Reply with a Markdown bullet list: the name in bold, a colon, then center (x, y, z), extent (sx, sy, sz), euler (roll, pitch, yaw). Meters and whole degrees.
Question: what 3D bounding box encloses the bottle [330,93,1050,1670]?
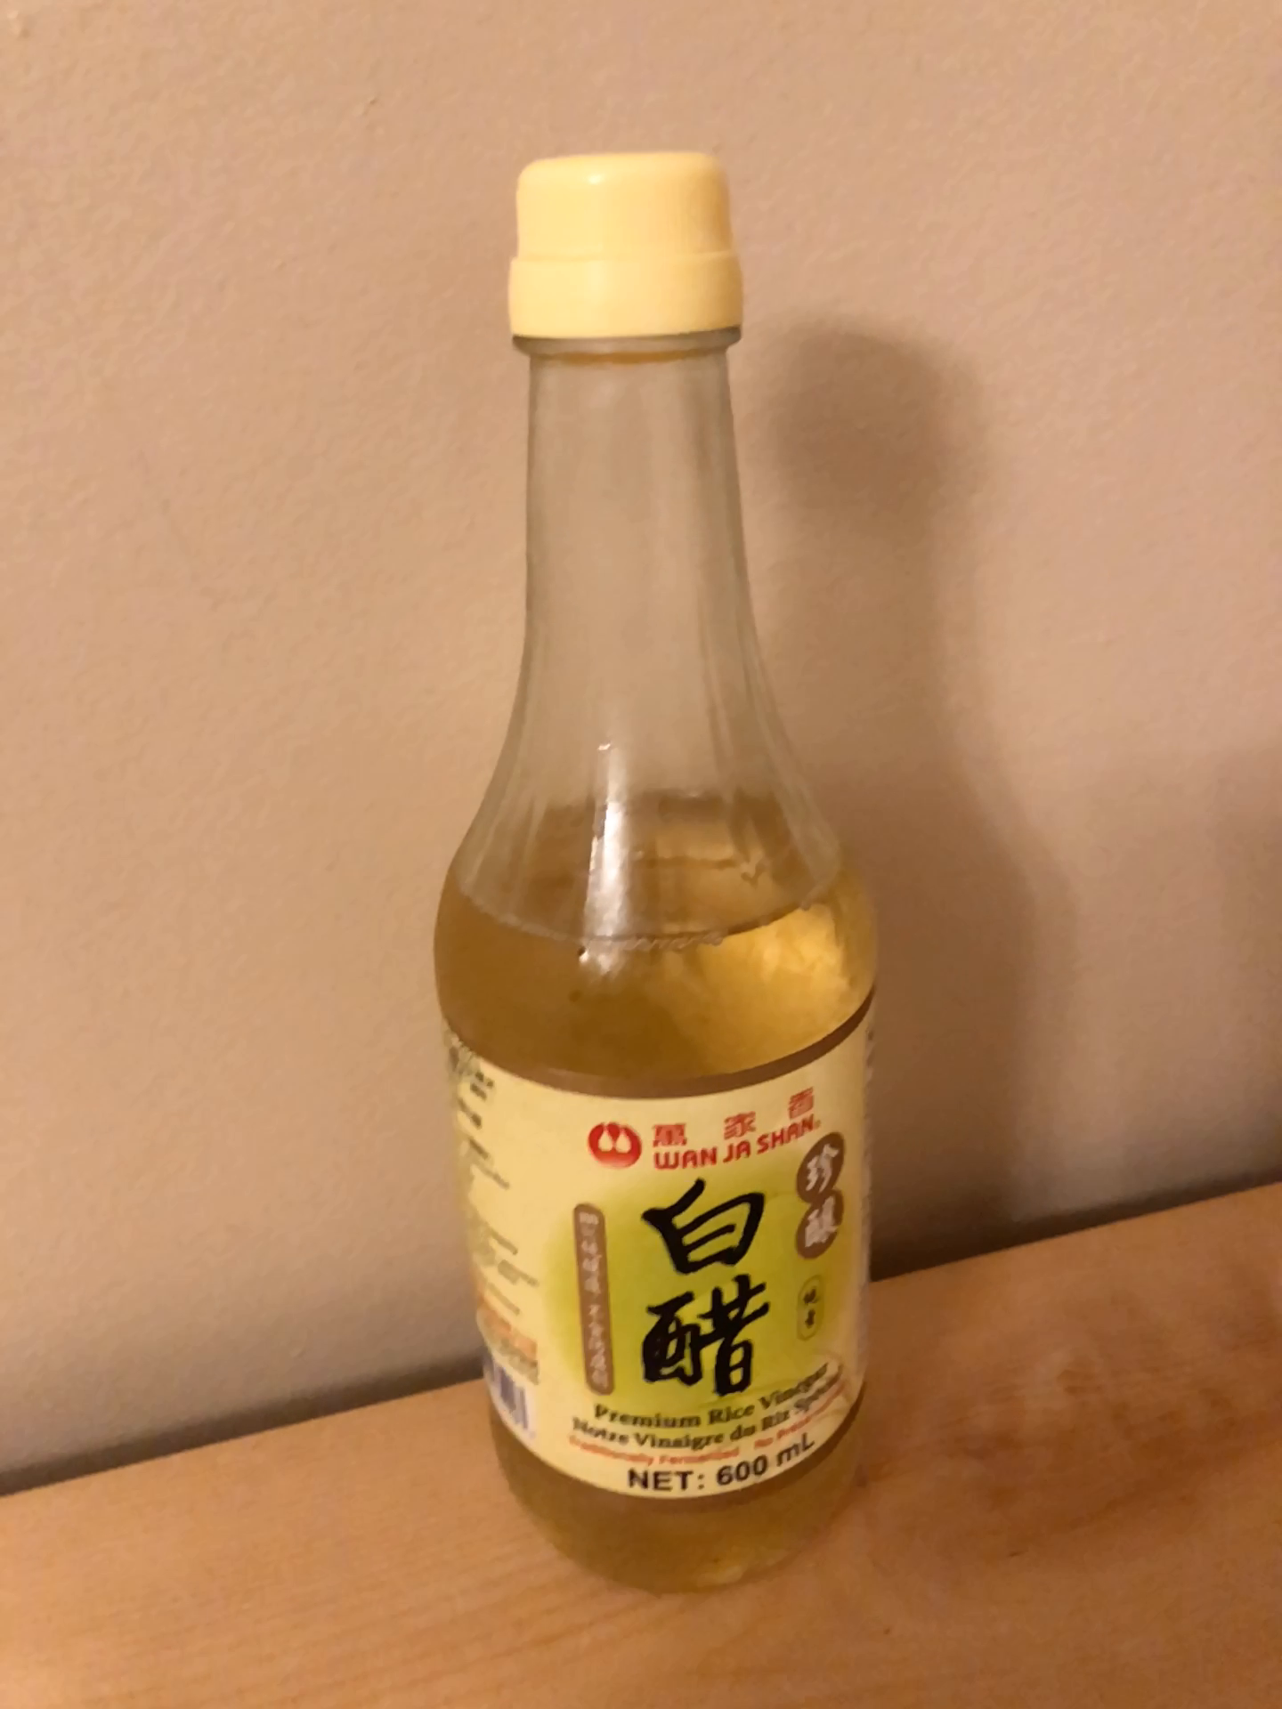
- **bottle**: center (0.006, 0.011, 0.241), extent (0.080, 0.239, 0.080), euler (-3, 24, 1)
